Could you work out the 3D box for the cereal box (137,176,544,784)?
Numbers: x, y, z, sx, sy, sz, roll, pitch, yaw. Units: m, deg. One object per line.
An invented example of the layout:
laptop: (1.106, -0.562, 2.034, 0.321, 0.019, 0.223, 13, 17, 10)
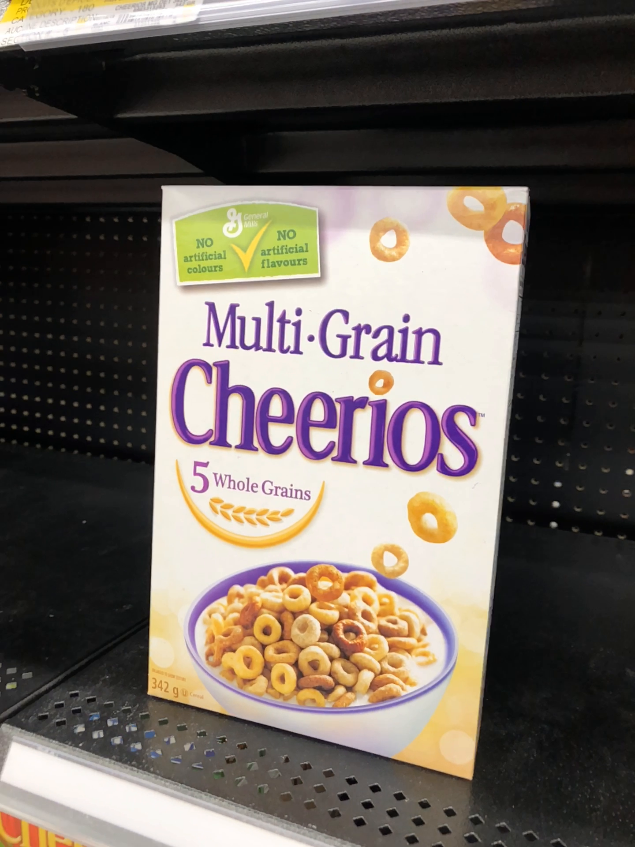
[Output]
cereal box: (0.007, 0.020, 0.392, 0.200, 0.289, 0.070, 6, 9, 19)
